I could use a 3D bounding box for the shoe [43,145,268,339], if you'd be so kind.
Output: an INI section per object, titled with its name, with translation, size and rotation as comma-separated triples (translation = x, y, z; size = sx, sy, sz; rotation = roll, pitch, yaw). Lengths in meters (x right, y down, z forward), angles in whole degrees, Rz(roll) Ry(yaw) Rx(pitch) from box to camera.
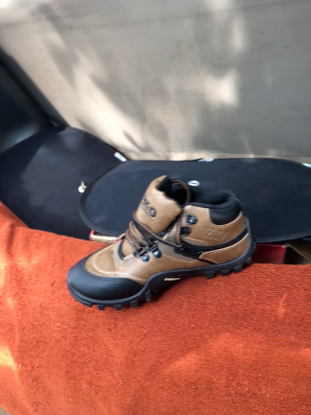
[shoe]
translation = 0.007, 0.043, 0.485
size = 0.270, 0.149, 0.110
rotation = -20, 38, -10
